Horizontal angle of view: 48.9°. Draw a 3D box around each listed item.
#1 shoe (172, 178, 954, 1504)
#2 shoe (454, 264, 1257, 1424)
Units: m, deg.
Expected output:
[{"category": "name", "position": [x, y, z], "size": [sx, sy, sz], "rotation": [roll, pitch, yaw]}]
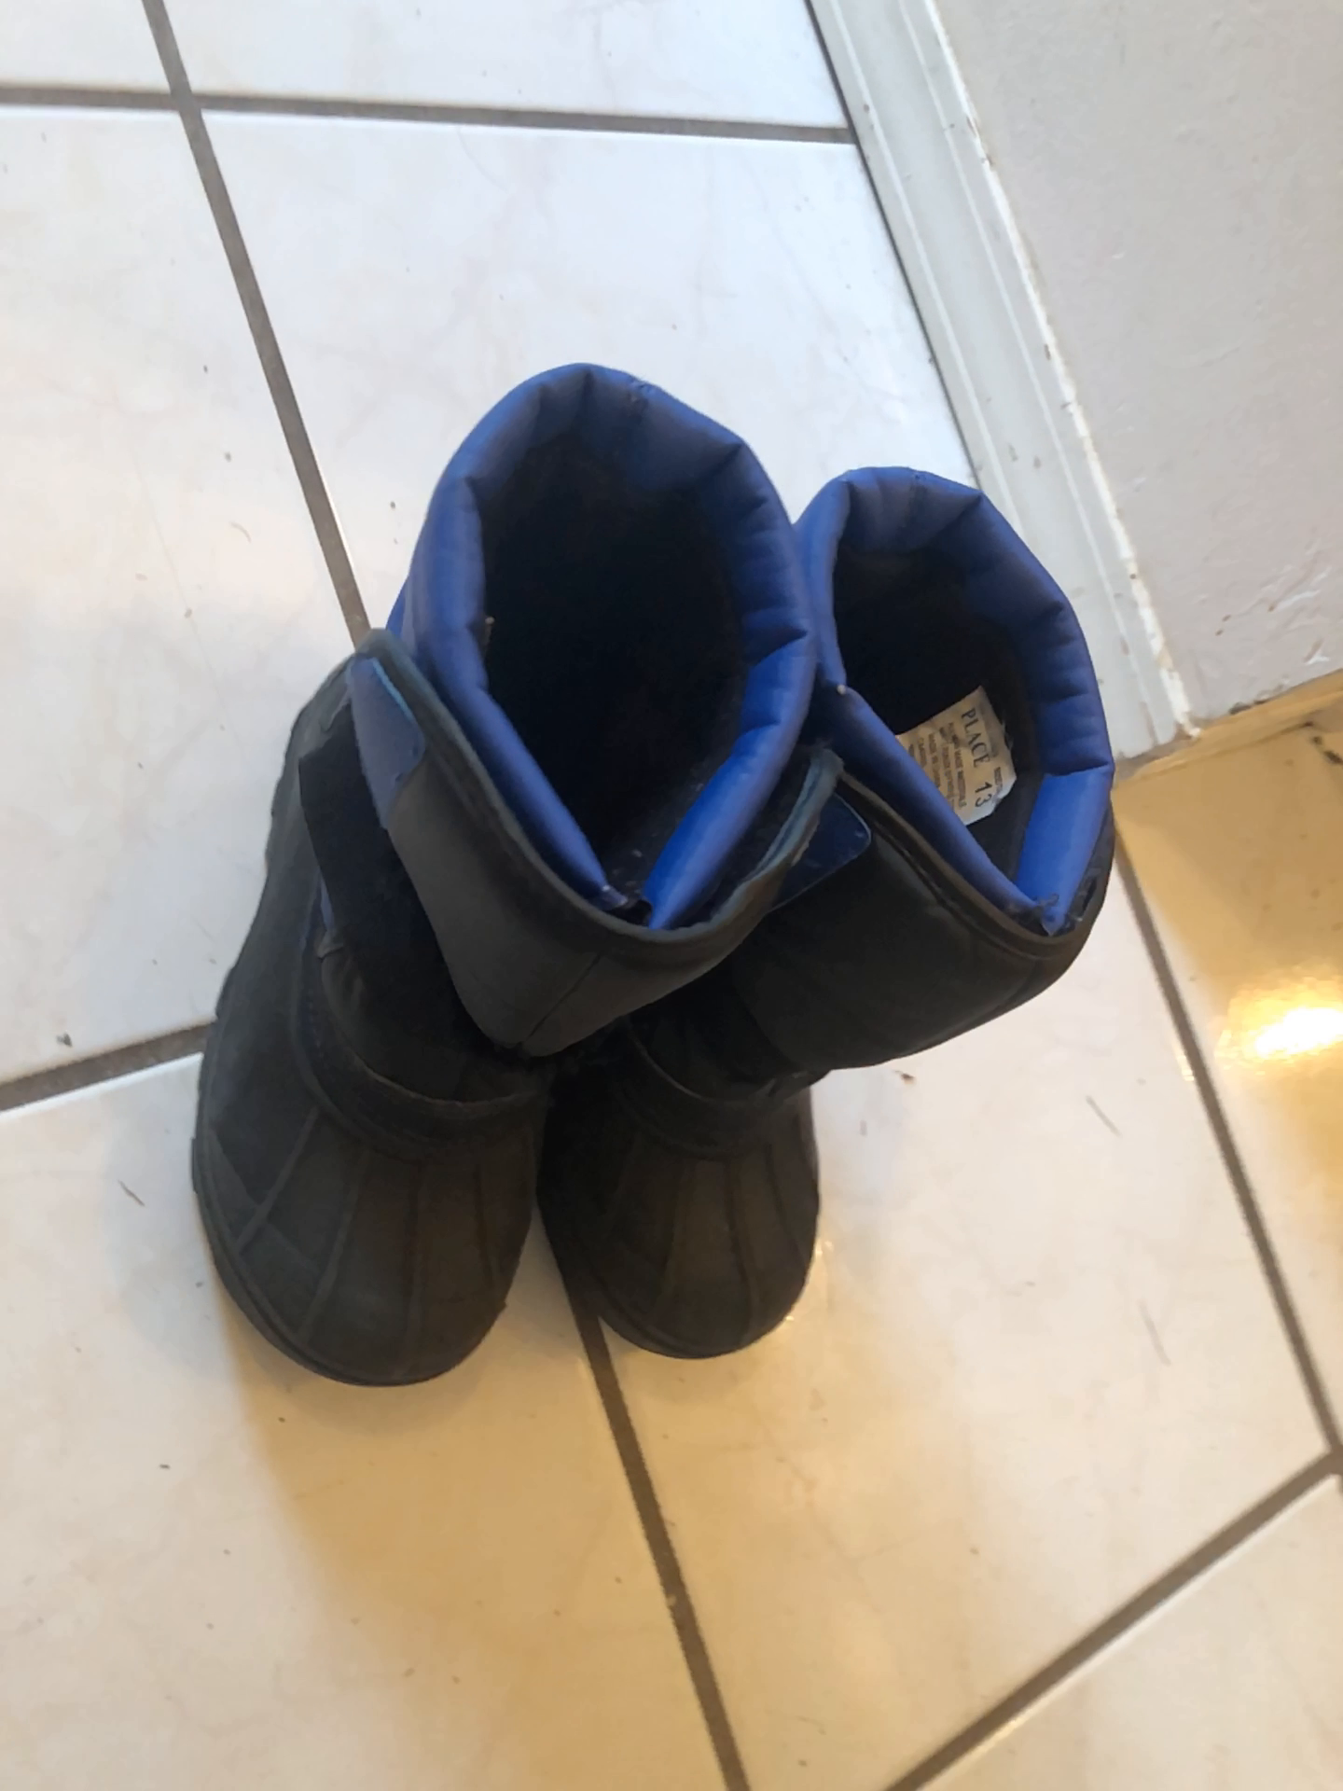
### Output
[{"category": "shoe", "position": [-0.047, 0.005, 0.356], "size": [0.100, 0.199, 0.230], "rotation": [4, 75, -29]}, {"category": "shoe", "position": [0.028, 0.003, 0.417], "size": [0.100, 0.199, 0.250], "rotation": [2, 76, -29]}]
